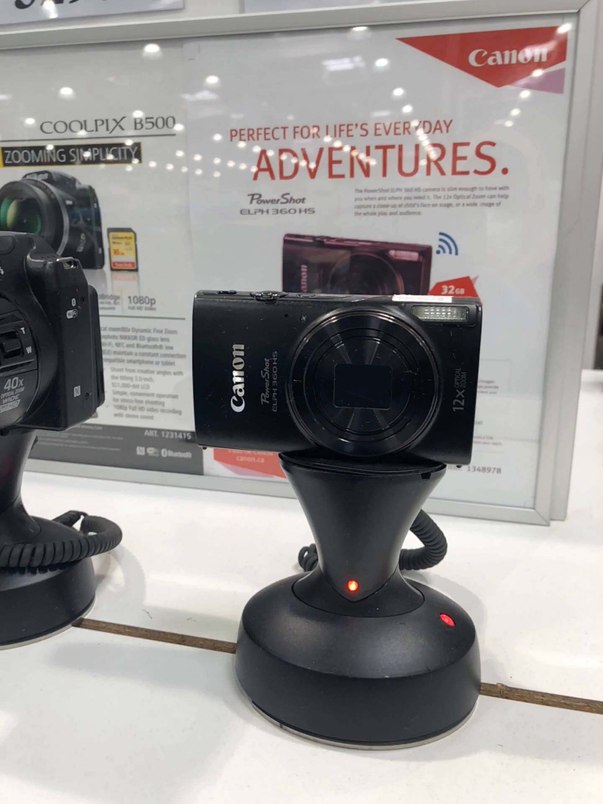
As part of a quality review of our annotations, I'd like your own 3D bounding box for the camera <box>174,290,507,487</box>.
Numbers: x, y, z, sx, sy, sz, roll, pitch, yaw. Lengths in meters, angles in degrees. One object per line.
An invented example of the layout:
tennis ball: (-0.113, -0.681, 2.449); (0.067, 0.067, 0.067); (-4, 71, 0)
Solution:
camera: (0.014, -0.008, 0.247); (0.110, 0.060, 0.040); (3, 15, 12)
